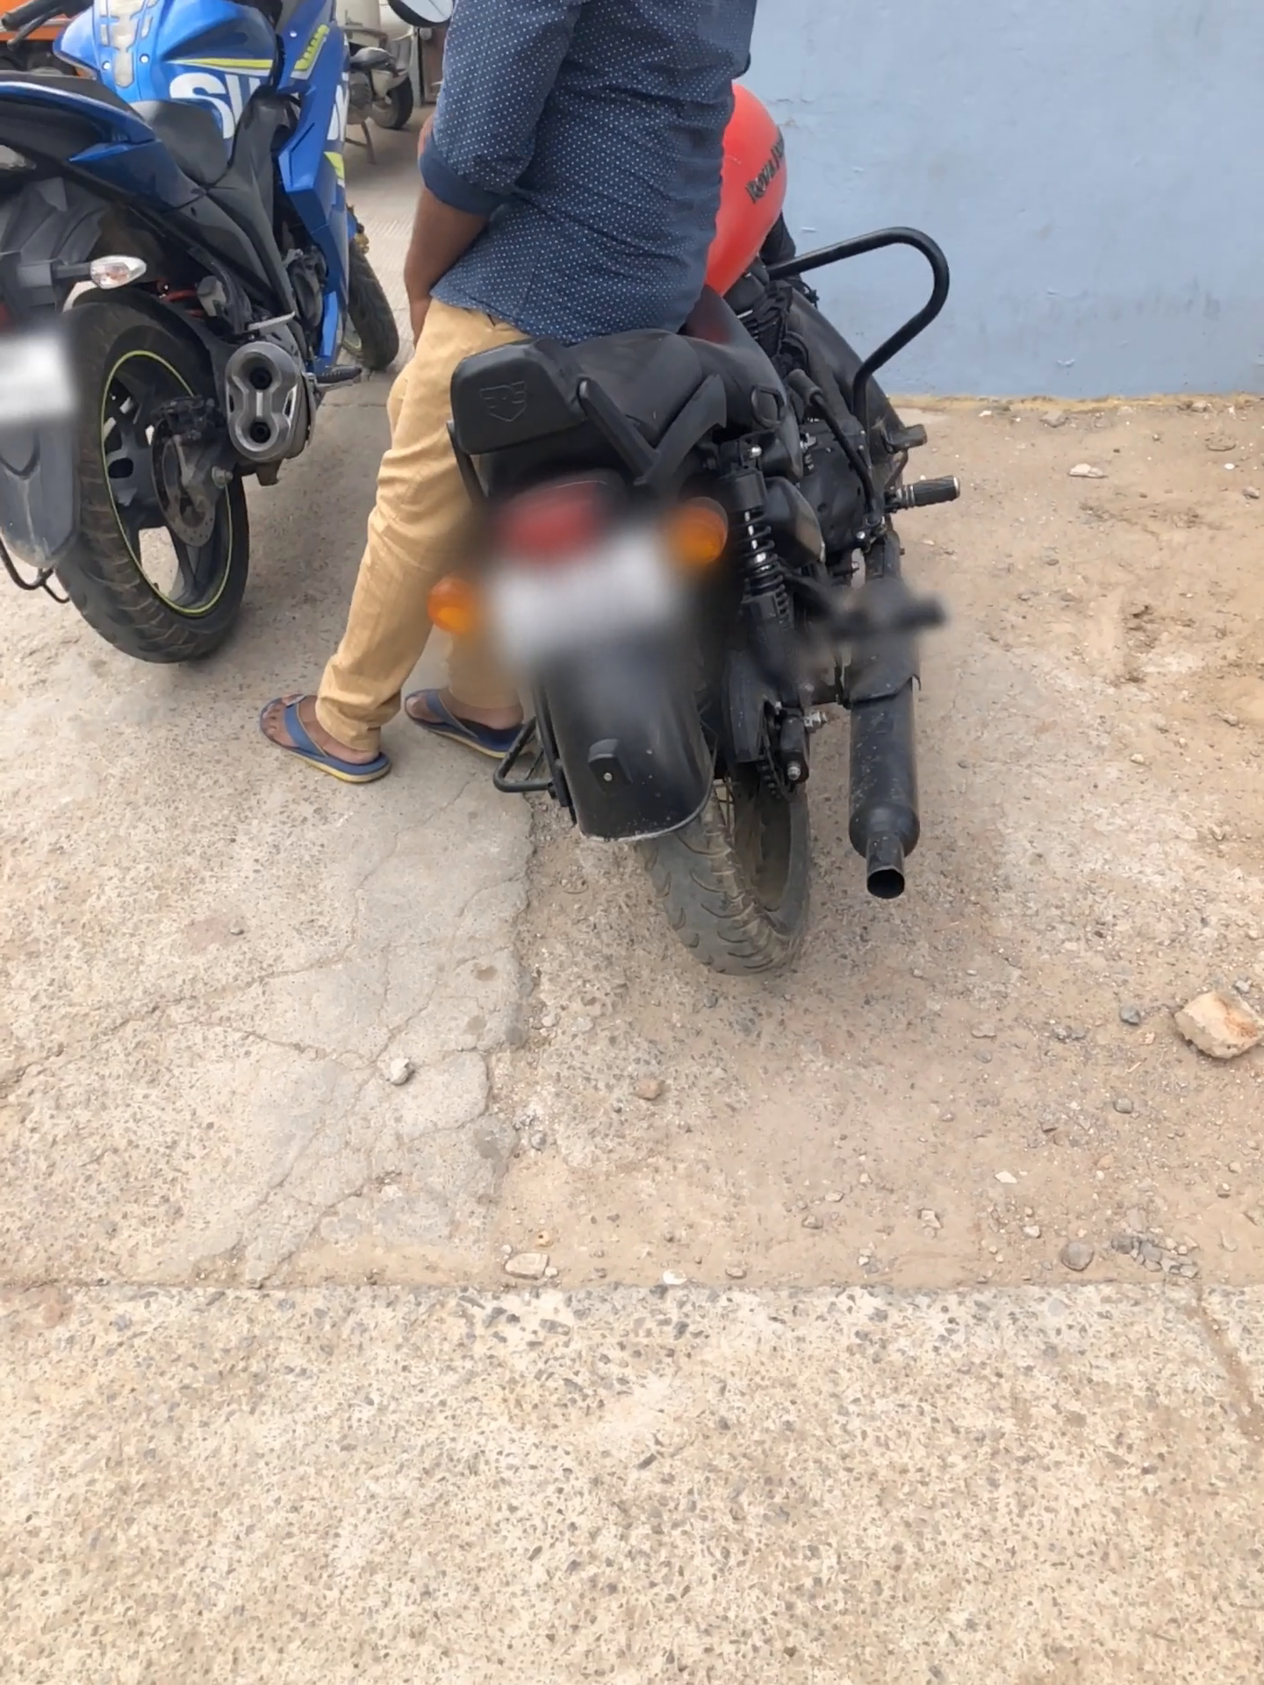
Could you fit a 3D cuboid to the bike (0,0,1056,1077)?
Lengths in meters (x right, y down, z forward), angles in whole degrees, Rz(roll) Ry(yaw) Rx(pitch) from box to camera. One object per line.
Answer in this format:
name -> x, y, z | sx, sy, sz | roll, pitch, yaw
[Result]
bike -> -0.053, -0.800, 1.911 | 0.776, 1.245, 1.549 | 5, 41, 1
